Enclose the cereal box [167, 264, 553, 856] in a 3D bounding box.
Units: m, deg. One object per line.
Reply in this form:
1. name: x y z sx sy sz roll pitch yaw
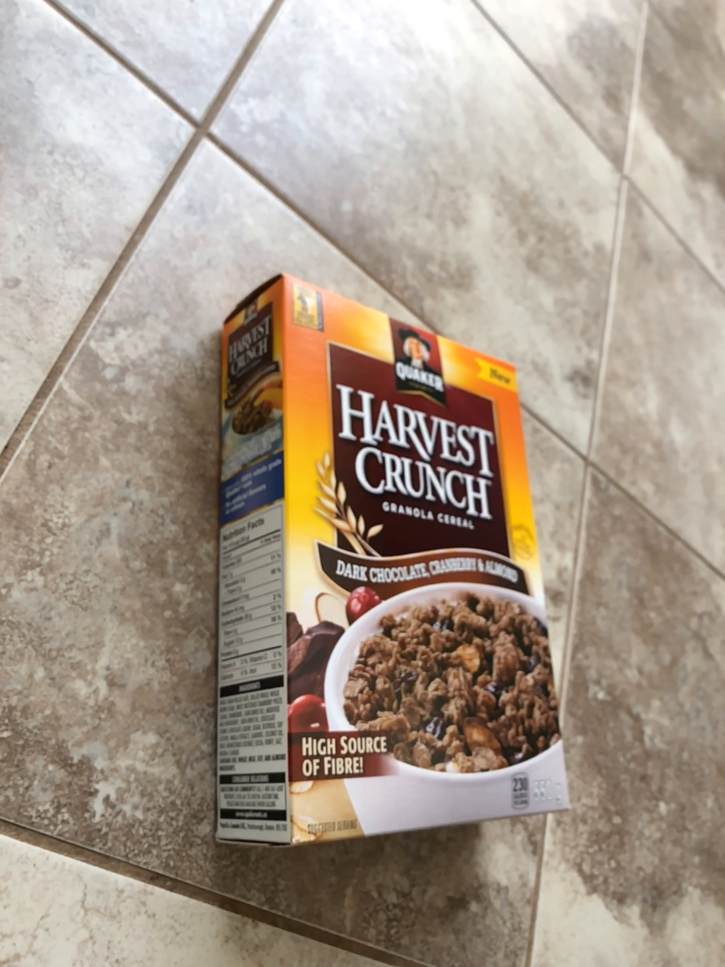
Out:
1. cereal box: 0.000 0.042 0.412 0.171 0.070 0.250 13 65 -38
